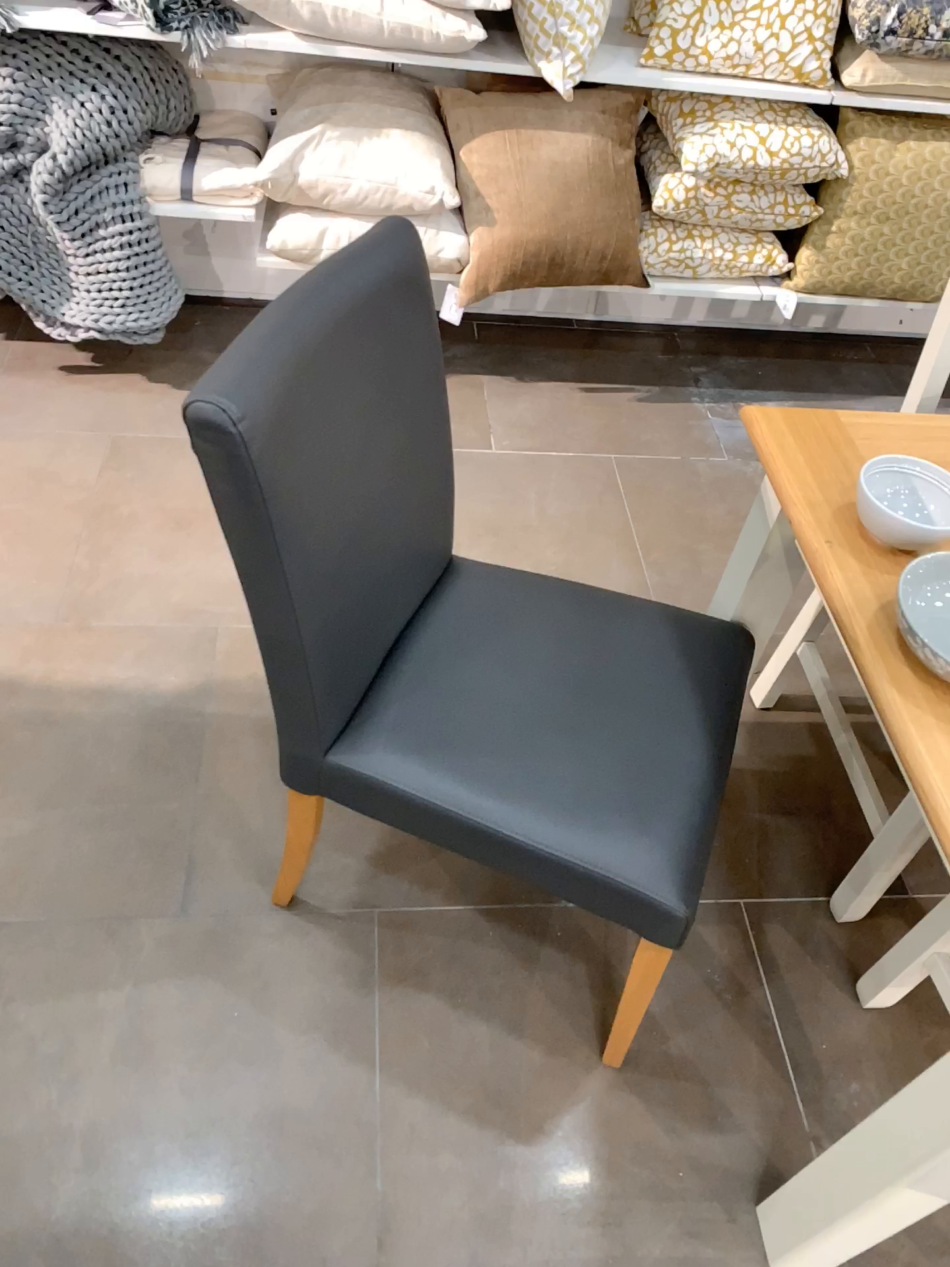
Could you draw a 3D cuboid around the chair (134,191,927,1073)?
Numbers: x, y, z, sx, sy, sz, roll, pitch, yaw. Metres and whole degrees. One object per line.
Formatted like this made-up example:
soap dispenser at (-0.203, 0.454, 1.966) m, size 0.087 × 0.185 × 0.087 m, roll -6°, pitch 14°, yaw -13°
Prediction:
chair at (0.046, 0.049, 1.250) m, size 0.650 × 0.906 × 0.479 m, roll 20°, pitch 47°, yaw 10°
